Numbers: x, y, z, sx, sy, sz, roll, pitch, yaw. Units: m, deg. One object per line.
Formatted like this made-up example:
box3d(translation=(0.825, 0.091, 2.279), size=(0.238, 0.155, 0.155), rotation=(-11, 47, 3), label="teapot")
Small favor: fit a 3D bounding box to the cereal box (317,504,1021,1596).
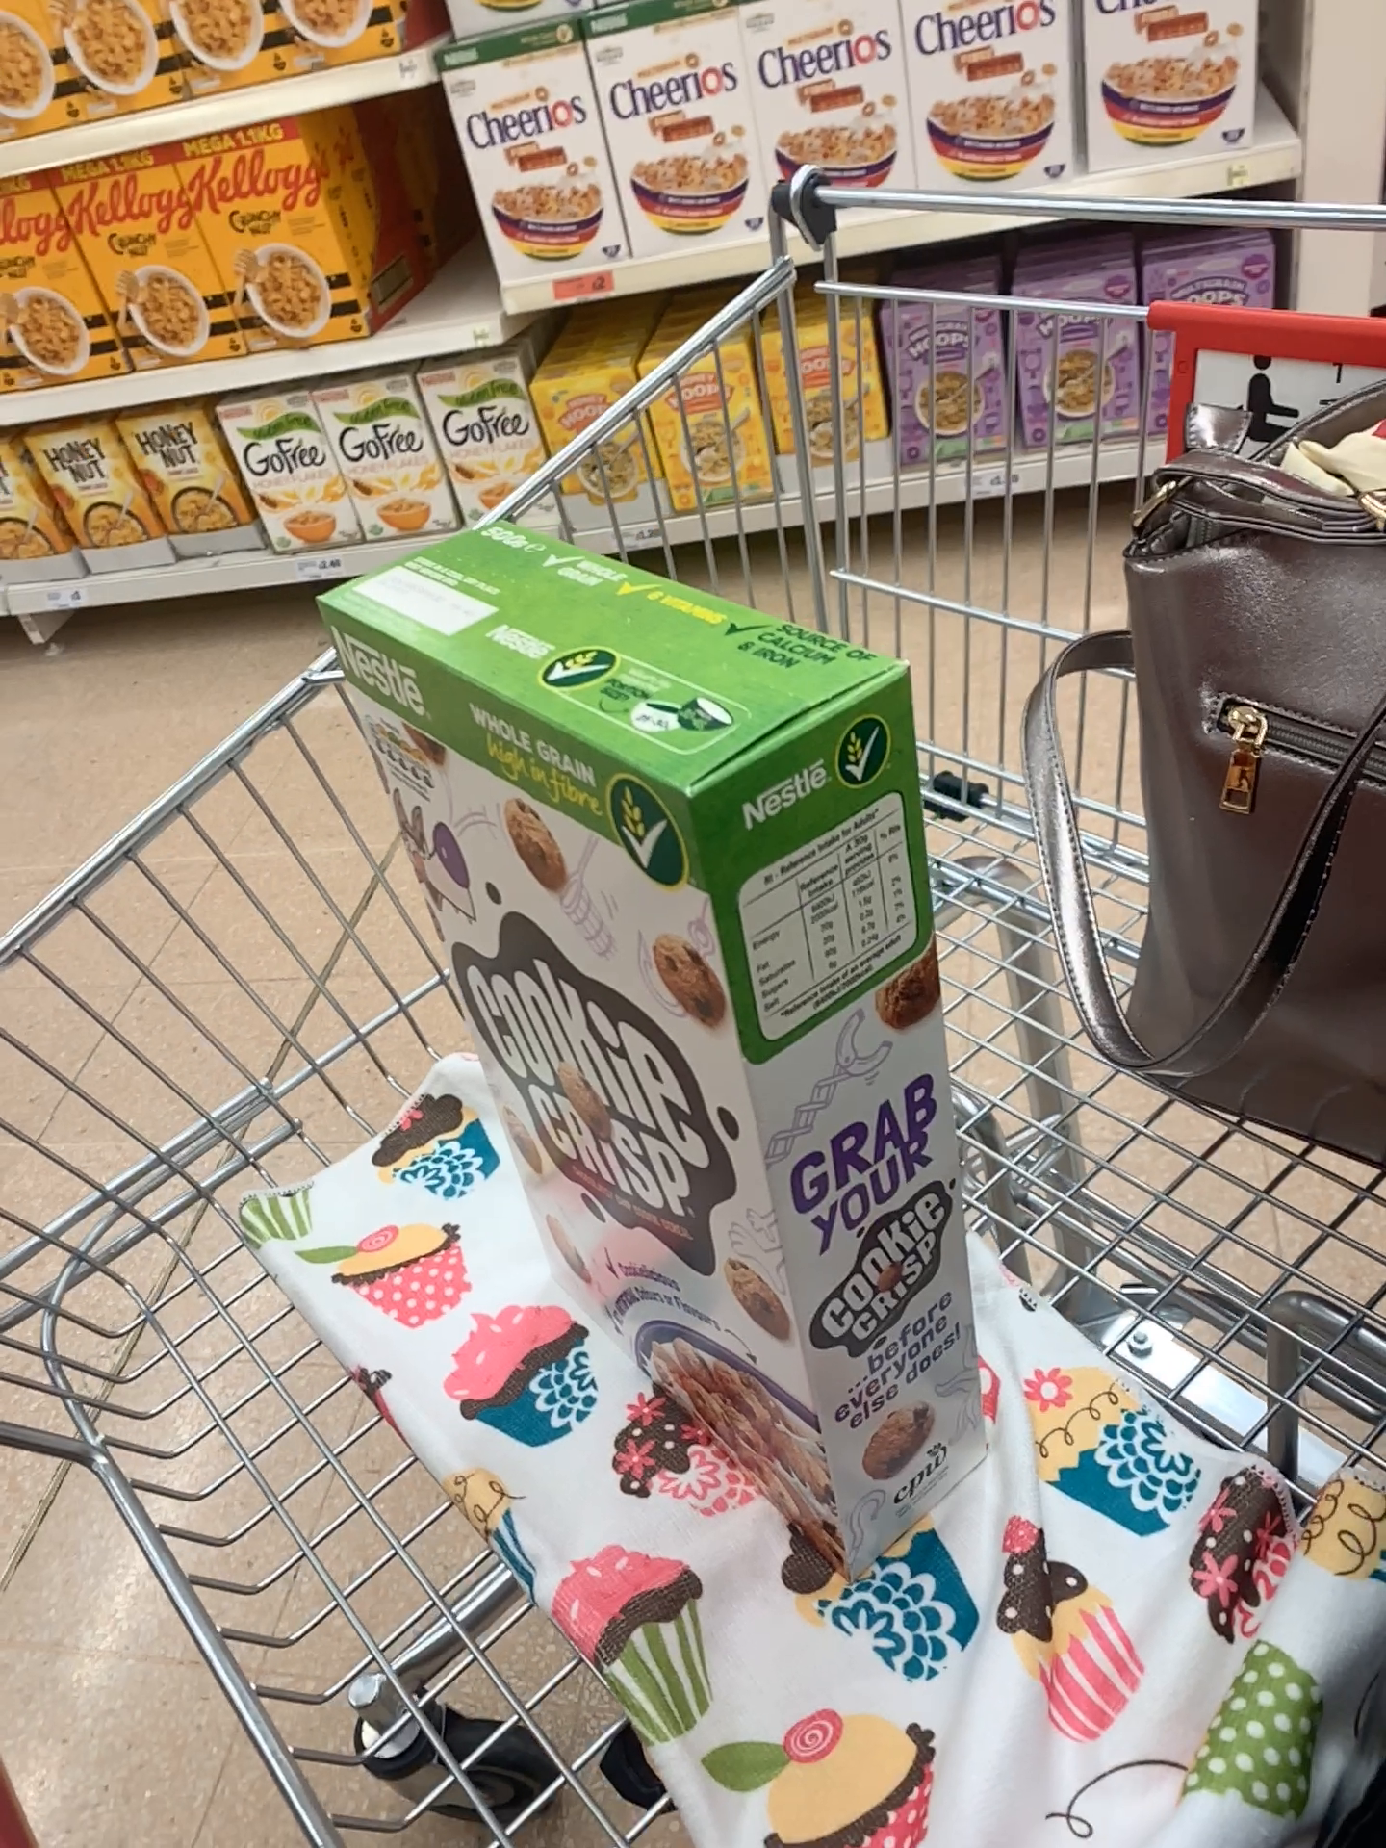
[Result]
box3d(translation=(-0.001, 0.041, 0.474), size=(0.070, 0.307, 0.222), rotation=(-30, 40, -27), label="cereal box")
